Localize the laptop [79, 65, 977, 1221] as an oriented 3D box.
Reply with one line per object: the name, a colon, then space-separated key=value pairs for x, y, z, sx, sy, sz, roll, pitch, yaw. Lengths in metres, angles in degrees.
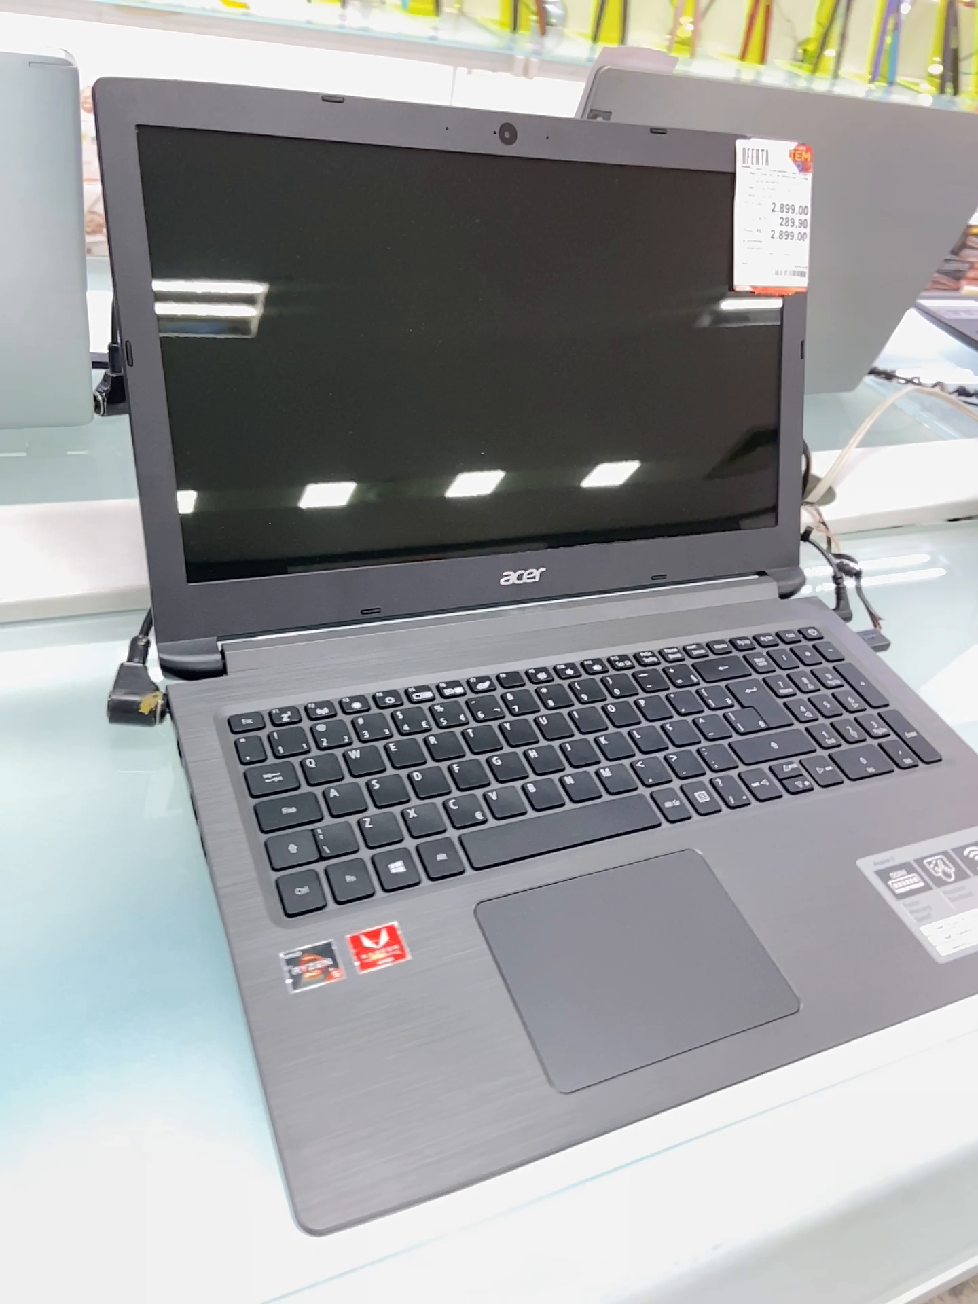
laptop: x=0.051 y=-0.059 z=0.393 sx=0.341 sy=0.194 sz=0.354 roll=-8 pitch=42 yaw=-23
